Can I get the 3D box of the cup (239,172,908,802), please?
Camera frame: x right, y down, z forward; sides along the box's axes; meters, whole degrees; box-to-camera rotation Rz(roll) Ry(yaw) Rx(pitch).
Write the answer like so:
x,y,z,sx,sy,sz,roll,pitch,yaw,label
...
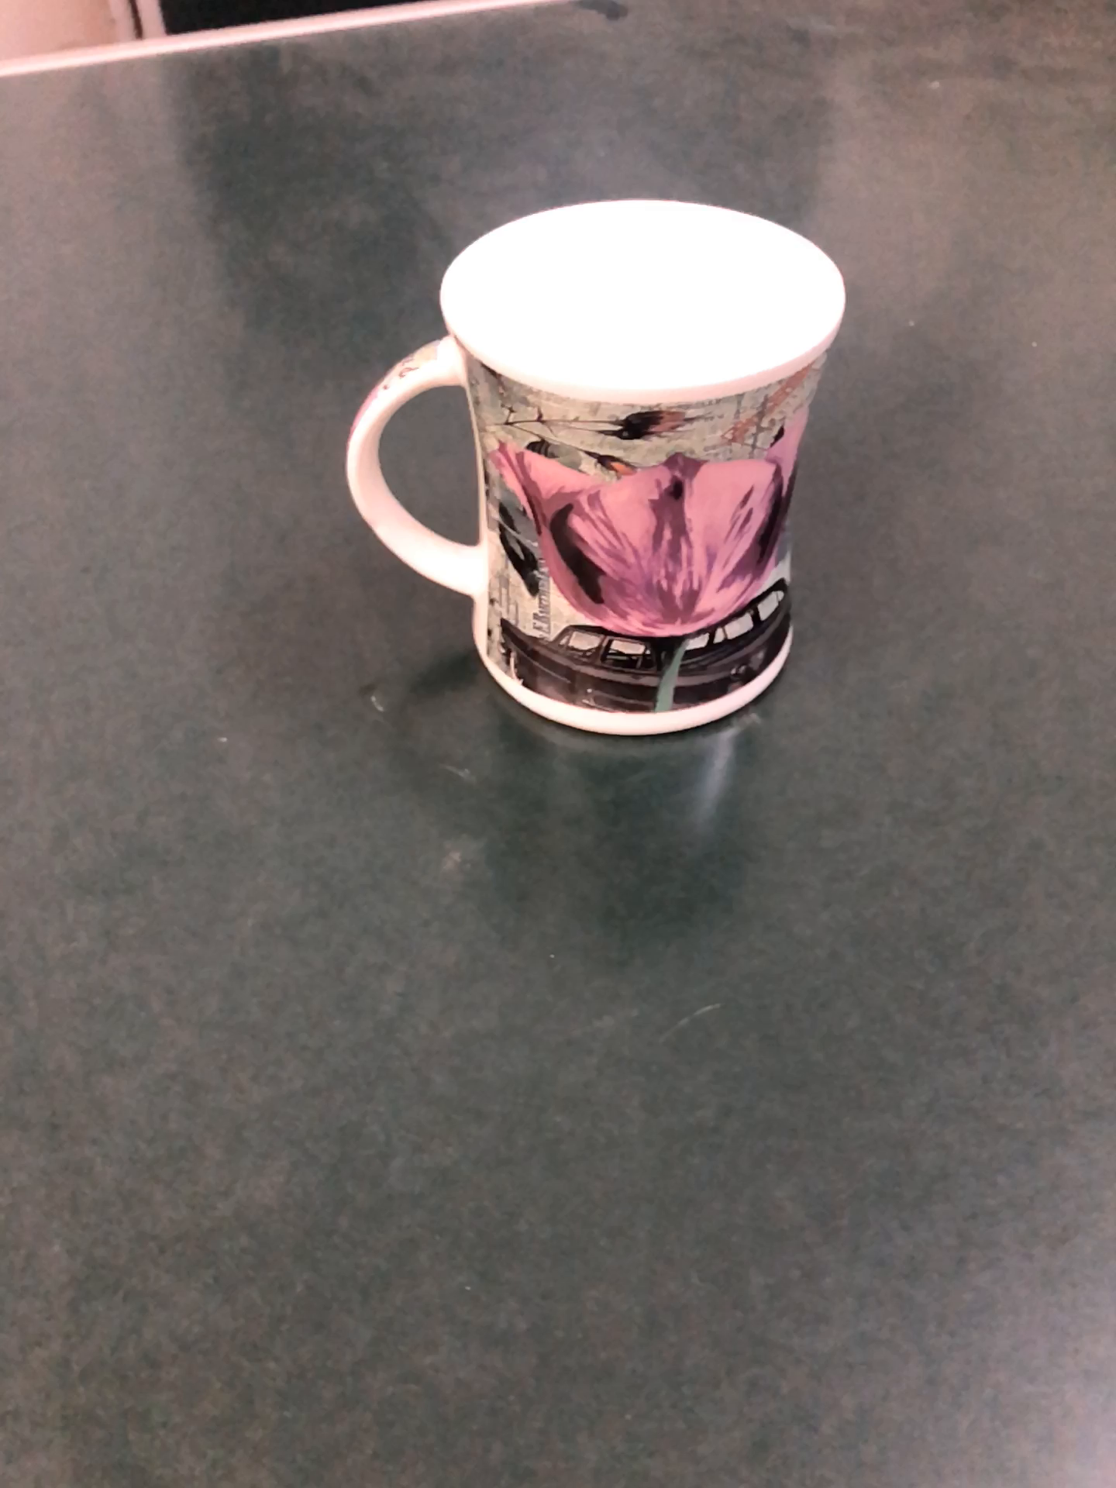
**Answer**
x,y,z,sx,sy,sz,roll,pitch,yaw,label
0.002,-0.059,0.294,0.120,0.110,0.090,-2,46,-1,cup
